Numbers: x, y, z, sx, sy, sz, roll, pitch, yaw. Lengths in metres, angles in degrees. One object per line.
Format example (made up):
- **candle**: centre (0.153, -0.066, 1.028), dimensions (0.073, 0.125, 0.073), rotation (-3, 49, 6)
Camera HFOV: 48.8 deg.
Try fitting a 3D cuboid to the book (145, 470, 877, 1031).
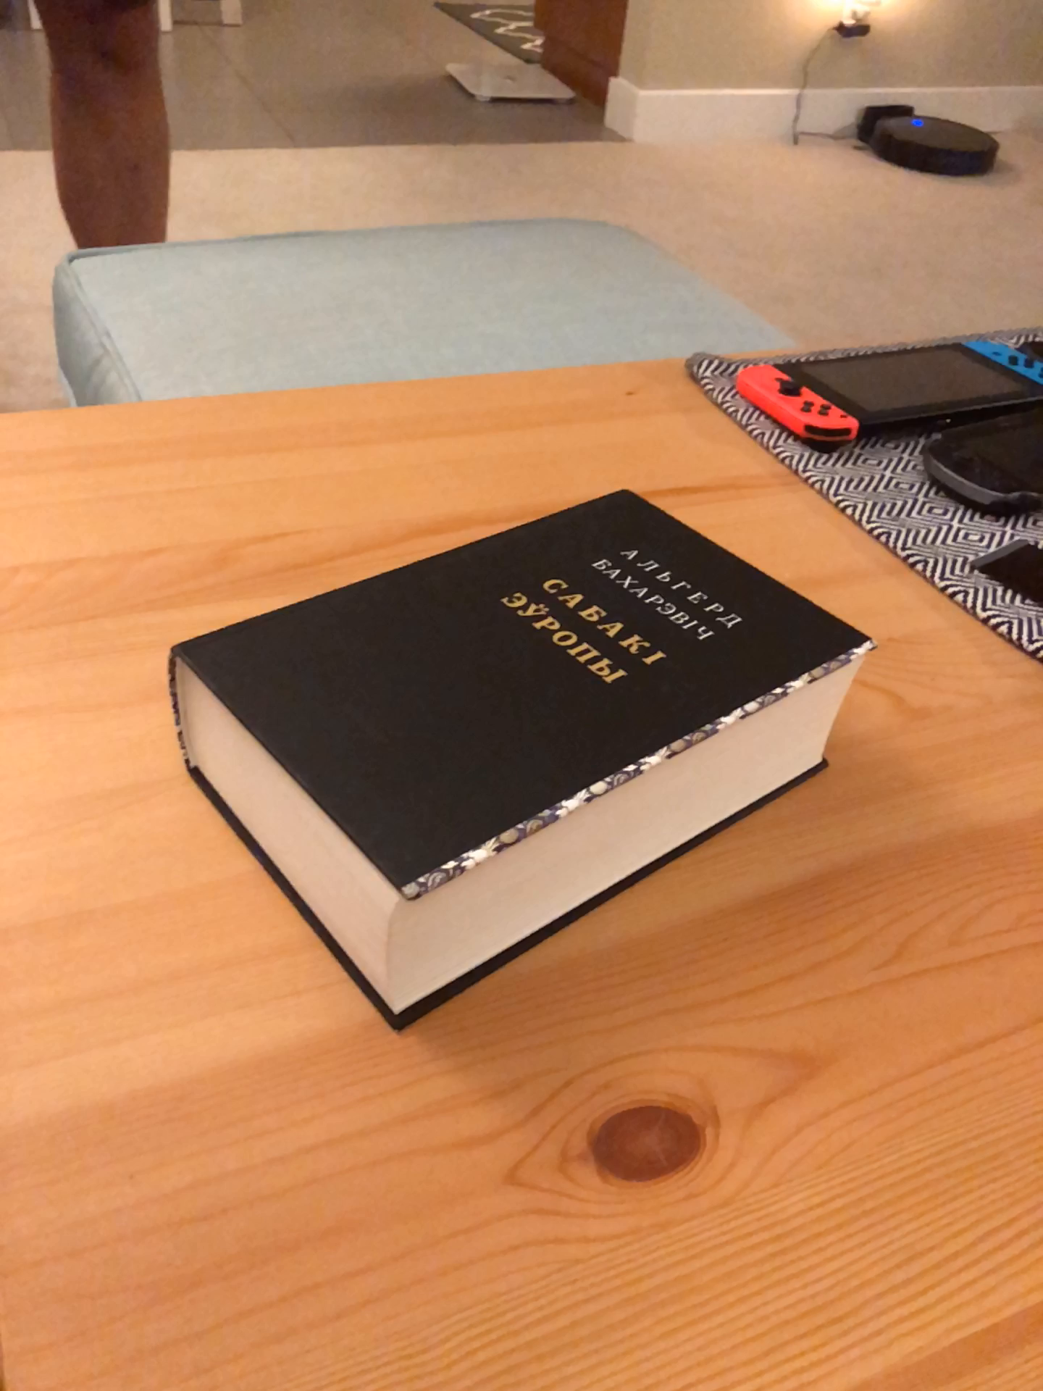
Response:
- **book**: centre (-0.001, 0.001, 0.454), dimensions (0.230, 0.061, 0.157), rotation (-25, 47, -31)
